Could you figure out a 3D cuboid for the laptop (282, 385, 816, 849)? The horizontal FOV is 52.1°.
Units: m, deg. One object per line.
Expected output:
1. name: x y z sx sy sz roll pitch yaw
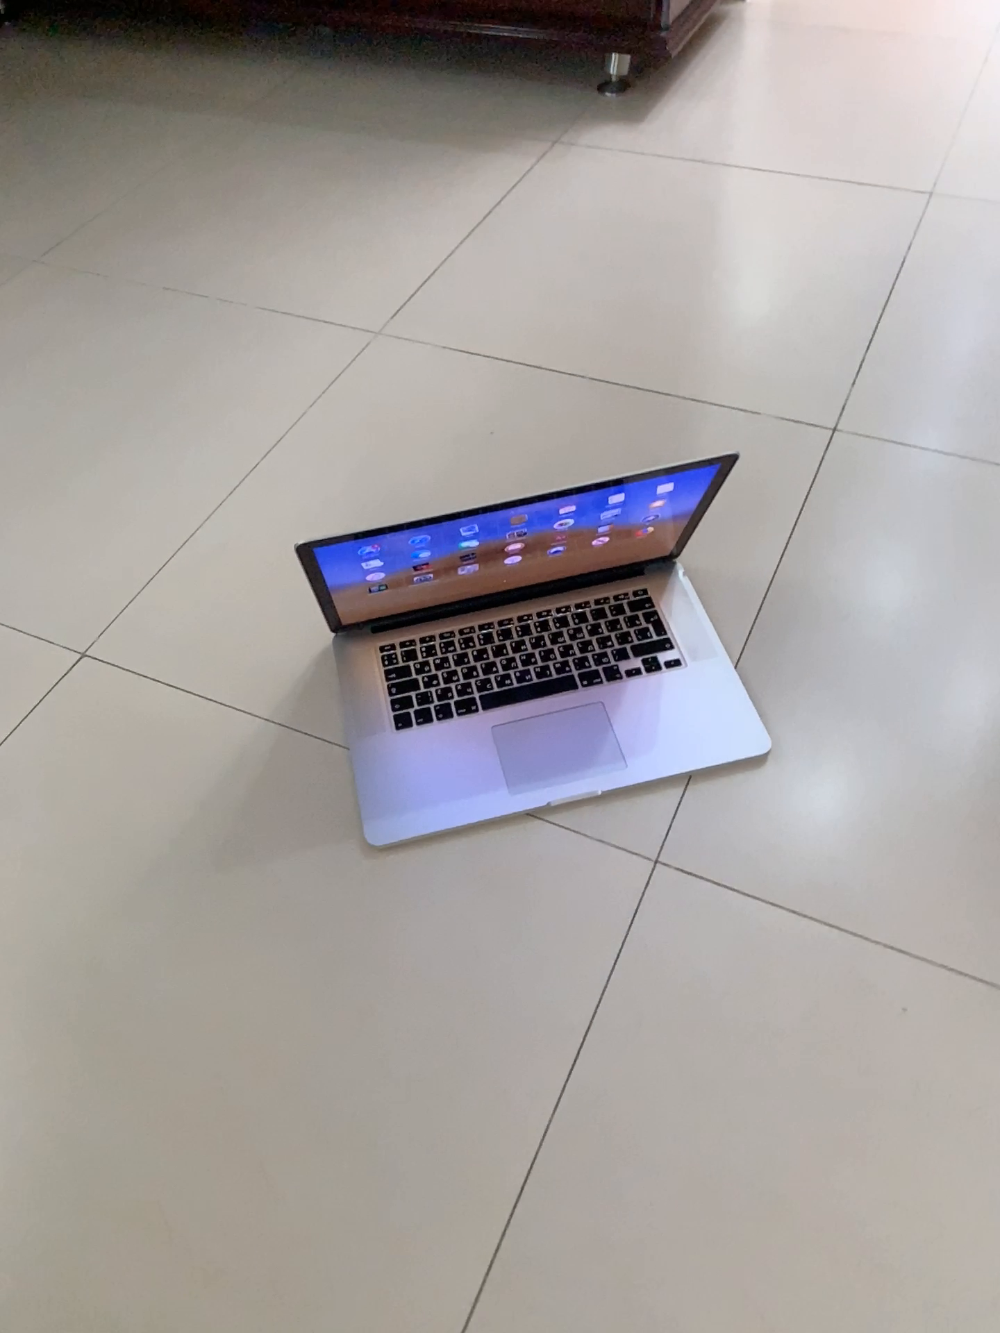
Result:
1. laptop: 0.028 -0.045 0.858 0.359 0.207 0.242 -12 50 -6
